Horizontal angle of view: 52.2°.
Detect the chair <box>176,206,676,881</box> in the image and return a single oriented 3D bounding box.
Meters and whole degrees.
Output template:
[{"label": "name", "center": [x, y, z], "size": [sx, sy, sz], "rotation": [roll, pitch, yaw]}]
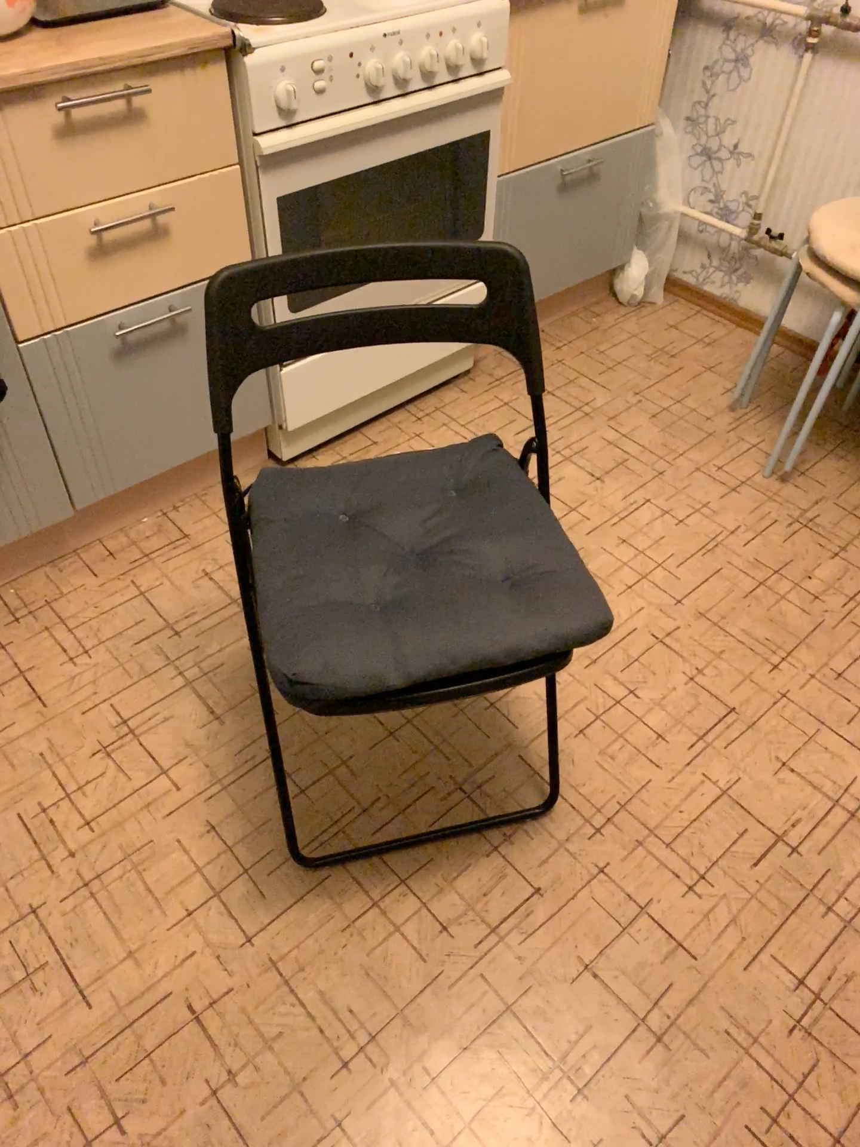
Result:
[{"label": "chair", "center": [-0.046, -0.017, 1.250], "size": [0.440, 0.776, 0.482], "rotation": [-11, 47, -12]}]
